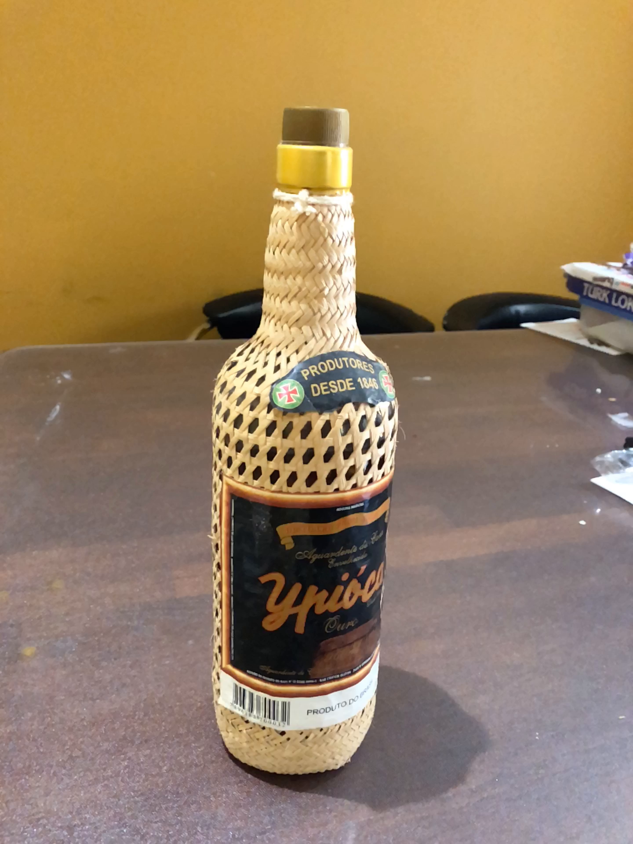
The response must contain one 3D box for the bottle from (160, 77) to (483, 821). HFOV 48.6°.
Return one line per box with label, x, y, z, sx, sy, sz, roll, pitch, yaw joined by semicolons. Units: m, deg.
bottle;-0.007;0.018;0.347;0.100;0.328;0.090;-12;25;-35
